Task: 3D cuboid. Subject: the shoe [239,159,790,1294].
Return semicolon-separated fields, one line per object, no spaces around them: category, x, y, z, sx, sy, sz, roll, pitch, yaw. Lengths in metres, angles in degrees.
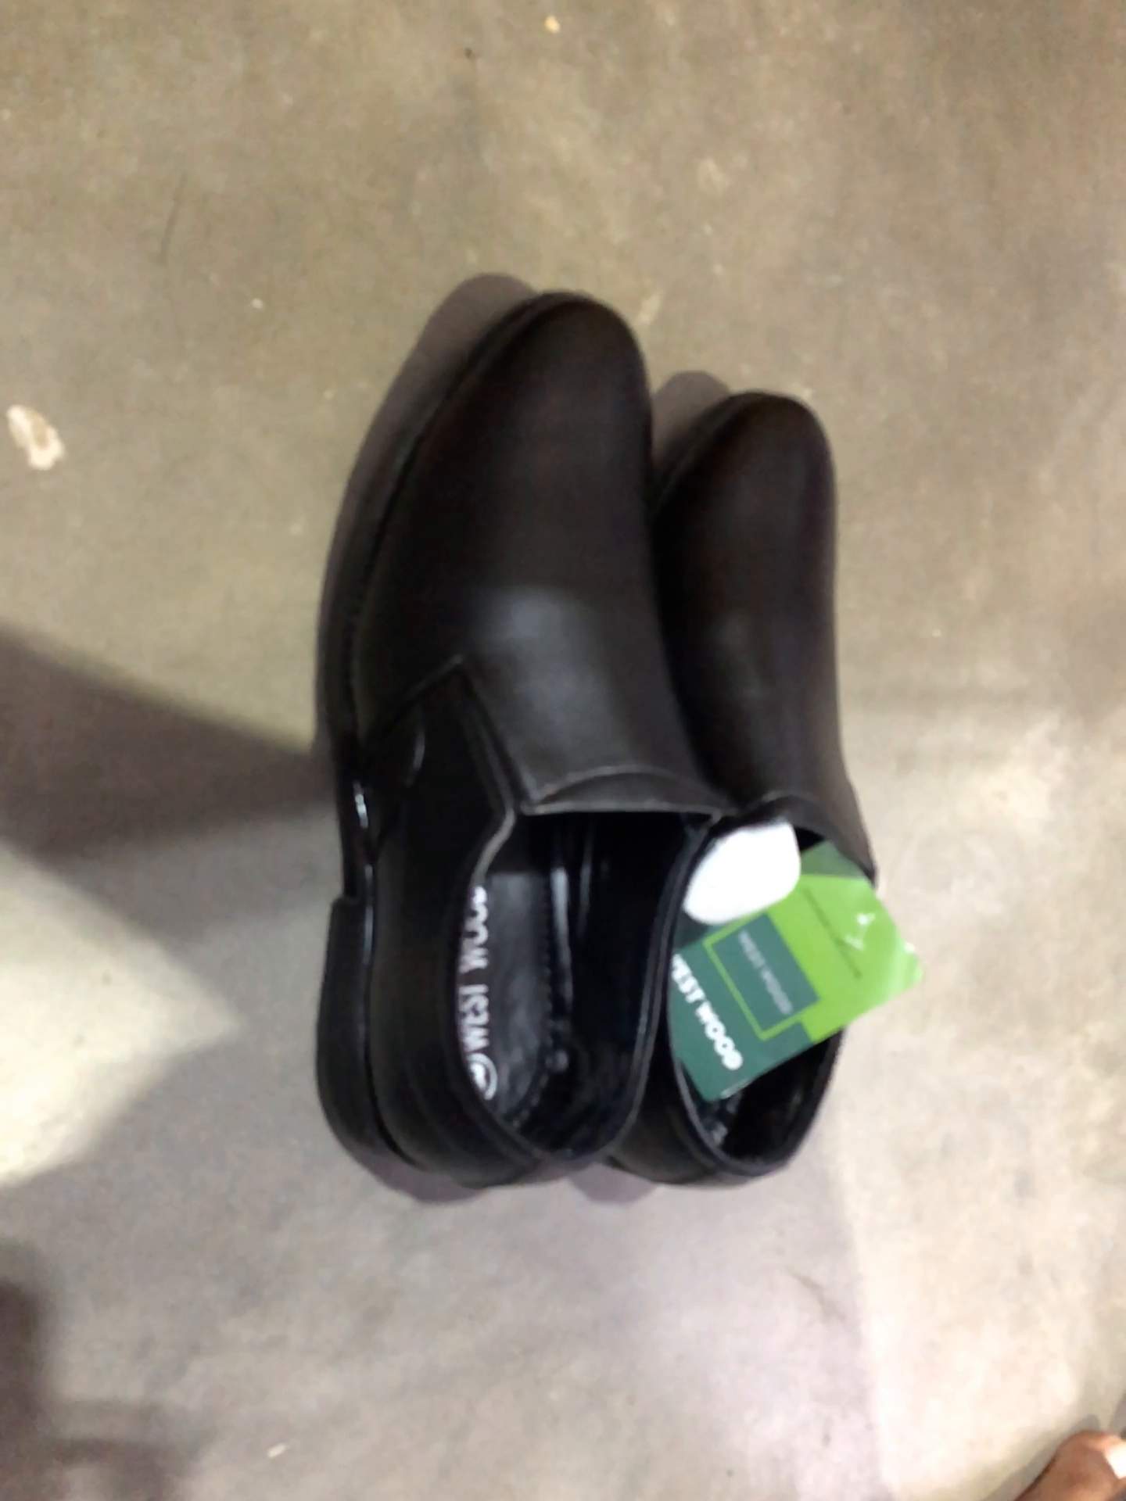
shoe;-0.016;-0.005;0.387;0.100;0.100;0.300;10;85;-31

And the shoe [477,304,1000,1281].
shoe;0.063;0.016;0.431;0.100;0.090;0.300;15;82;-31
